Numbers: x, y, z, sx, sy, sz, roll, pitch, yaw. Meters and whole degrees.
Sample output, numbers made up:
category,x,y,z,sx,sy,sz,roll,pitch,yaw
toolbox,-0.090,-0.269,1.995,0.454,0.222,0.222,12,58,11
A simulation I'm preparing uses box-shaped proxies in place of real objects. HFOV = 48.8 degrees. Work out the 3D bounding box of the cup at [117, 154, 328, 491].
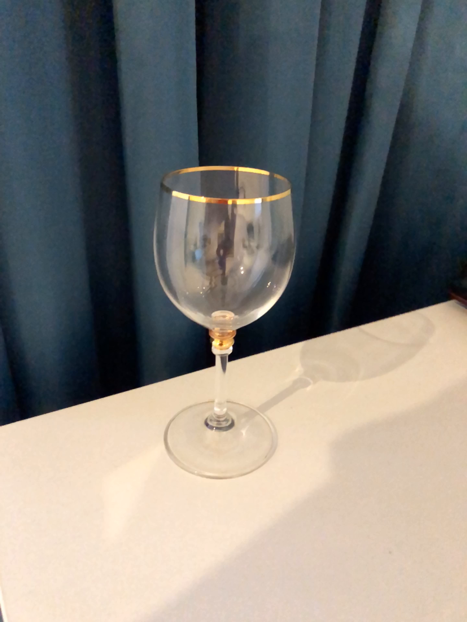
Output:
category,x,y,z,sx,sy,sz,roll,pitch,yaw
cup,-0.003,0.003,0.326,0.100,0.179,0.101,1,25,-1
